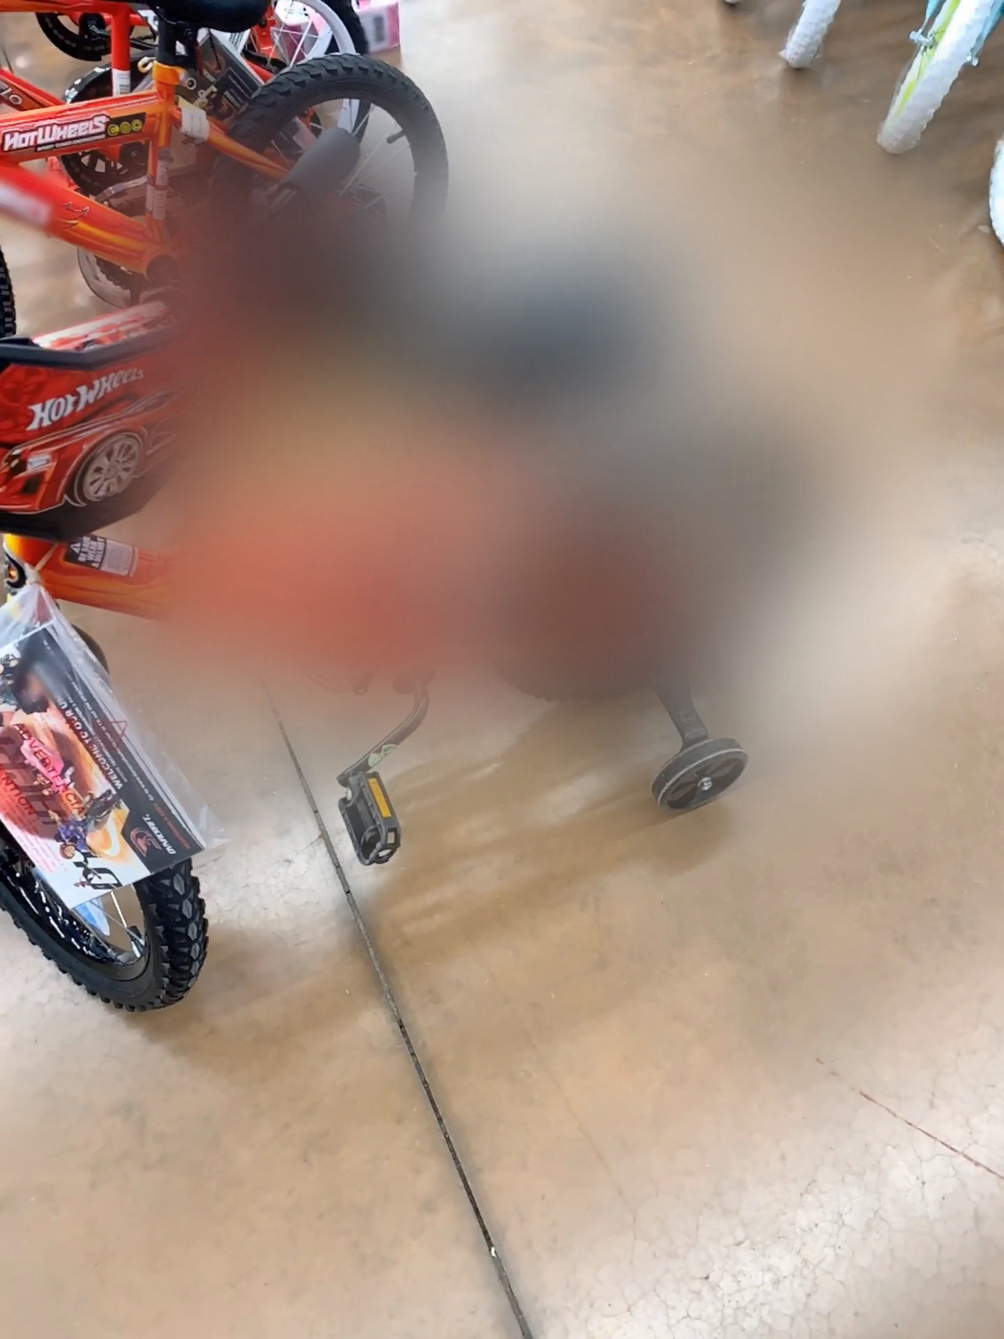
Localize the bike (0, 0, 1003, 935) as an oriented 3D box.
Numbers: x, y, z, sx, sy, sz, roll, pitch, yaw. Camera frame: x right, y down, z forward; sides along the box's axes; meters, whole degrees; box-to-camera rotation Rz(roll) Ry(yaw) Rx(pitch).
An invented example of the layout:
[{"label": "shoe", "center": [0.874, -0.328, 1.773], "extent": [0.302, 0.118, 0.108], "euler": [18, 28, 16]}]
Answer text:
[{"label": "bike", "center": [-0.172, -0.217, 1.030], "extent": [0.994, 0.821, 0.504], "euler": [-17, 56, -4]}]
